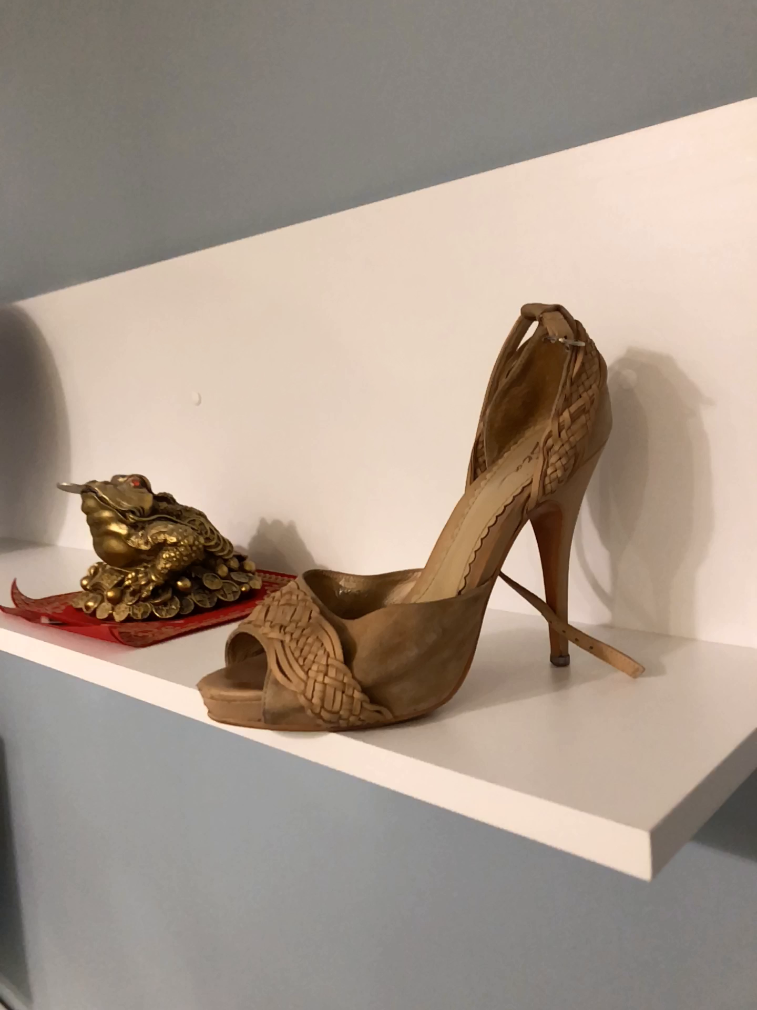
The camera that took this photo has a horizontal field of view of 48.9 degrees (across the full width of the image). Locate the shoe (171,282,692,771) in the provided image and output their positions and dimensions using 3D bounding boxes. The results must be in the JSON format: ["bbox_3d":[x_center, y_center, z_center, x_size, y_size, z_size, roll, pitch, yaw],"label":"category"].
[{"bbox_3d":[0.021,-0.002,0.384,0.210,0.180,0.100,-5,6,-16],"label":"shoe"}]
